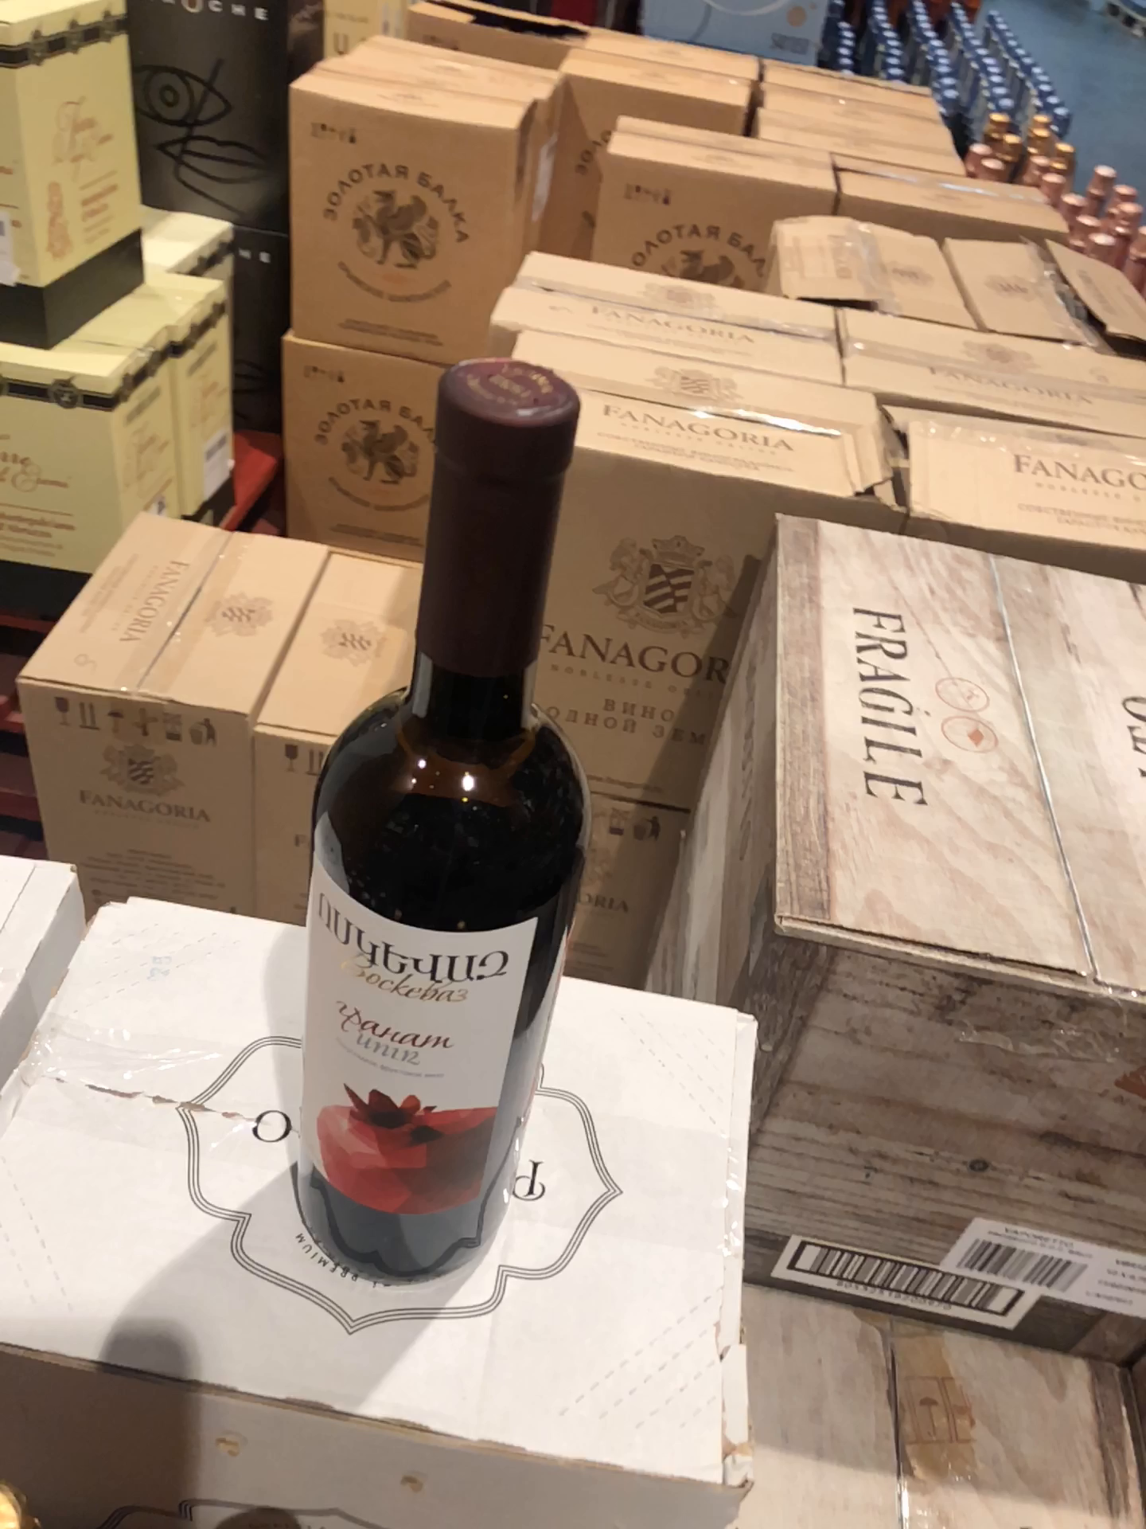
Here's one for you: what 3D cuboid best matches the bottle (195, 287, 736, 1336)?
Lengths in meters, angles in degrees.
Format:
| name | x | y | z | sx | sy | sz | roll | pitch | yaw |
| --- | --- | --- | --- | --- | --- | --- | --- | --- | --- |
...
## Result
| name | x | y | z | sx | sy | sz | roll | pitch | yaw |
| --- | --- | --- | --- | --- | --- | --- | --- | --- | --- |
| bottle | -0.038 | 0.037 | 0.356 | 0.090 | 0.298 | 0.081 | 17 | 40 | 8 |
